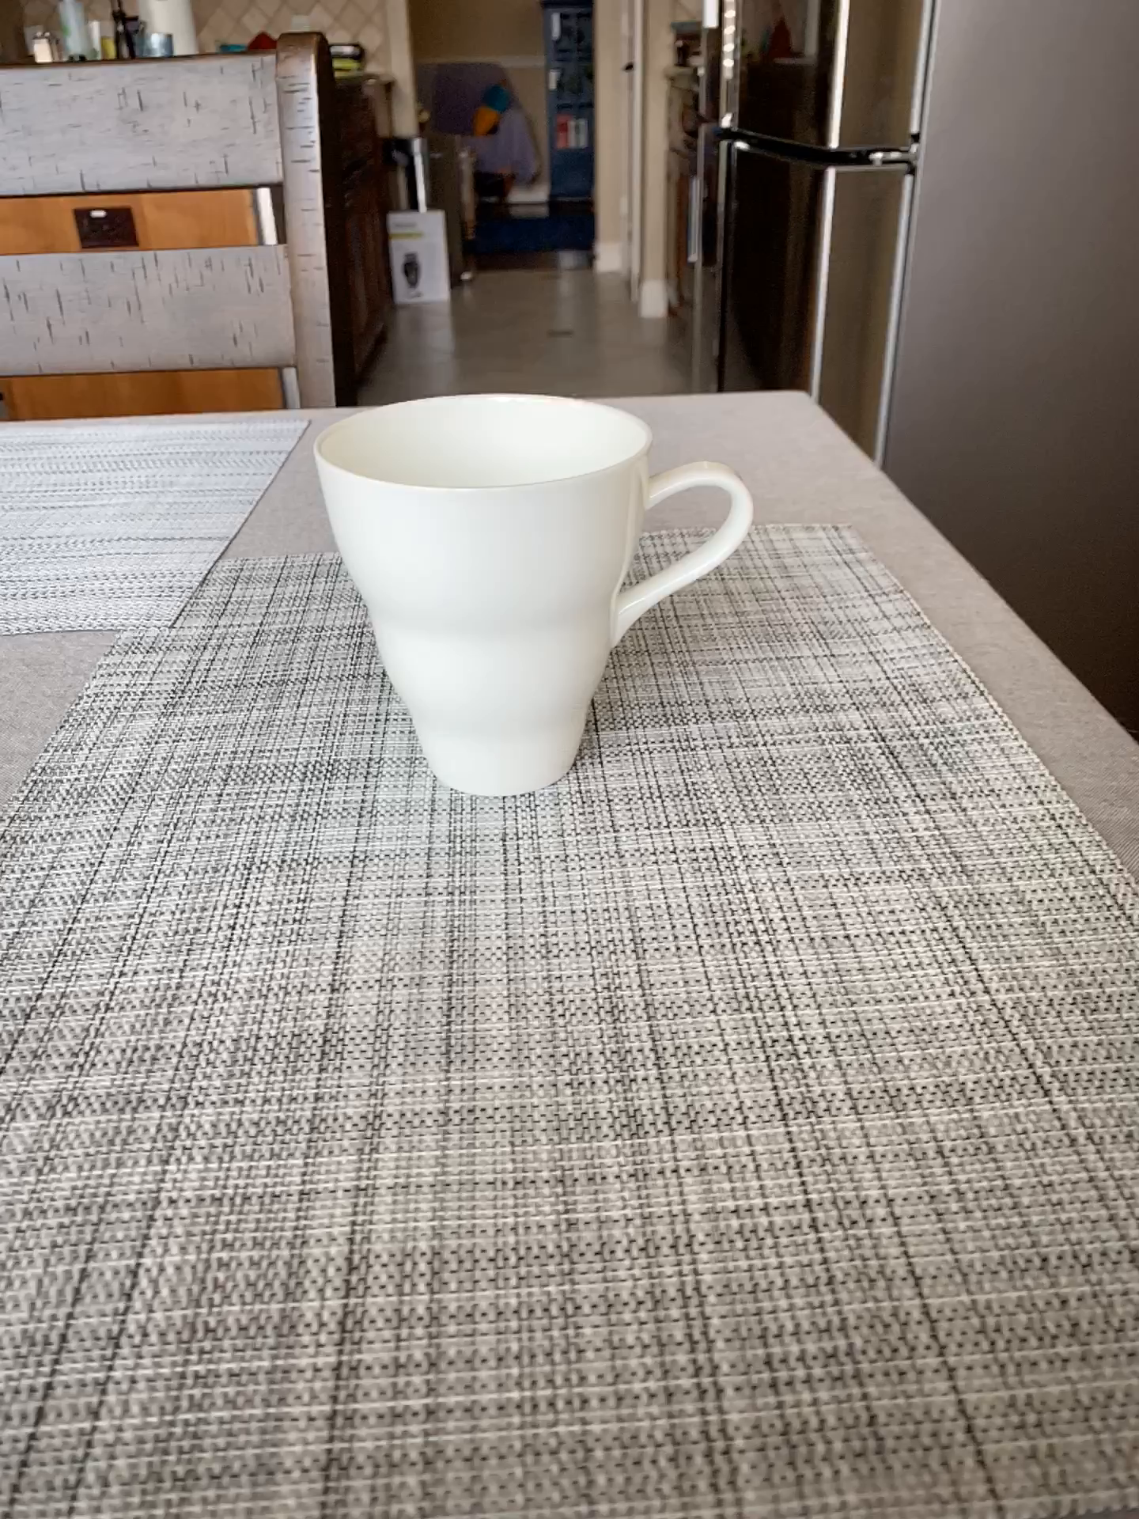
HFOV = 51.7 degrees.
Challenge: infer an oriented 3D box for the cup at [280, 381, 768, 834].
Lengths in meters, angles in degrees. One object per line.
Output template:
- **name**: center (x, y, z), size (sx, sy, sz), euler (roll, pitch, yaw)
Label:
- **cup**: center (-0.013, -0.050, 0.358), size (0.121, 0.098, 0.099), euler (-3, 32, -2)
